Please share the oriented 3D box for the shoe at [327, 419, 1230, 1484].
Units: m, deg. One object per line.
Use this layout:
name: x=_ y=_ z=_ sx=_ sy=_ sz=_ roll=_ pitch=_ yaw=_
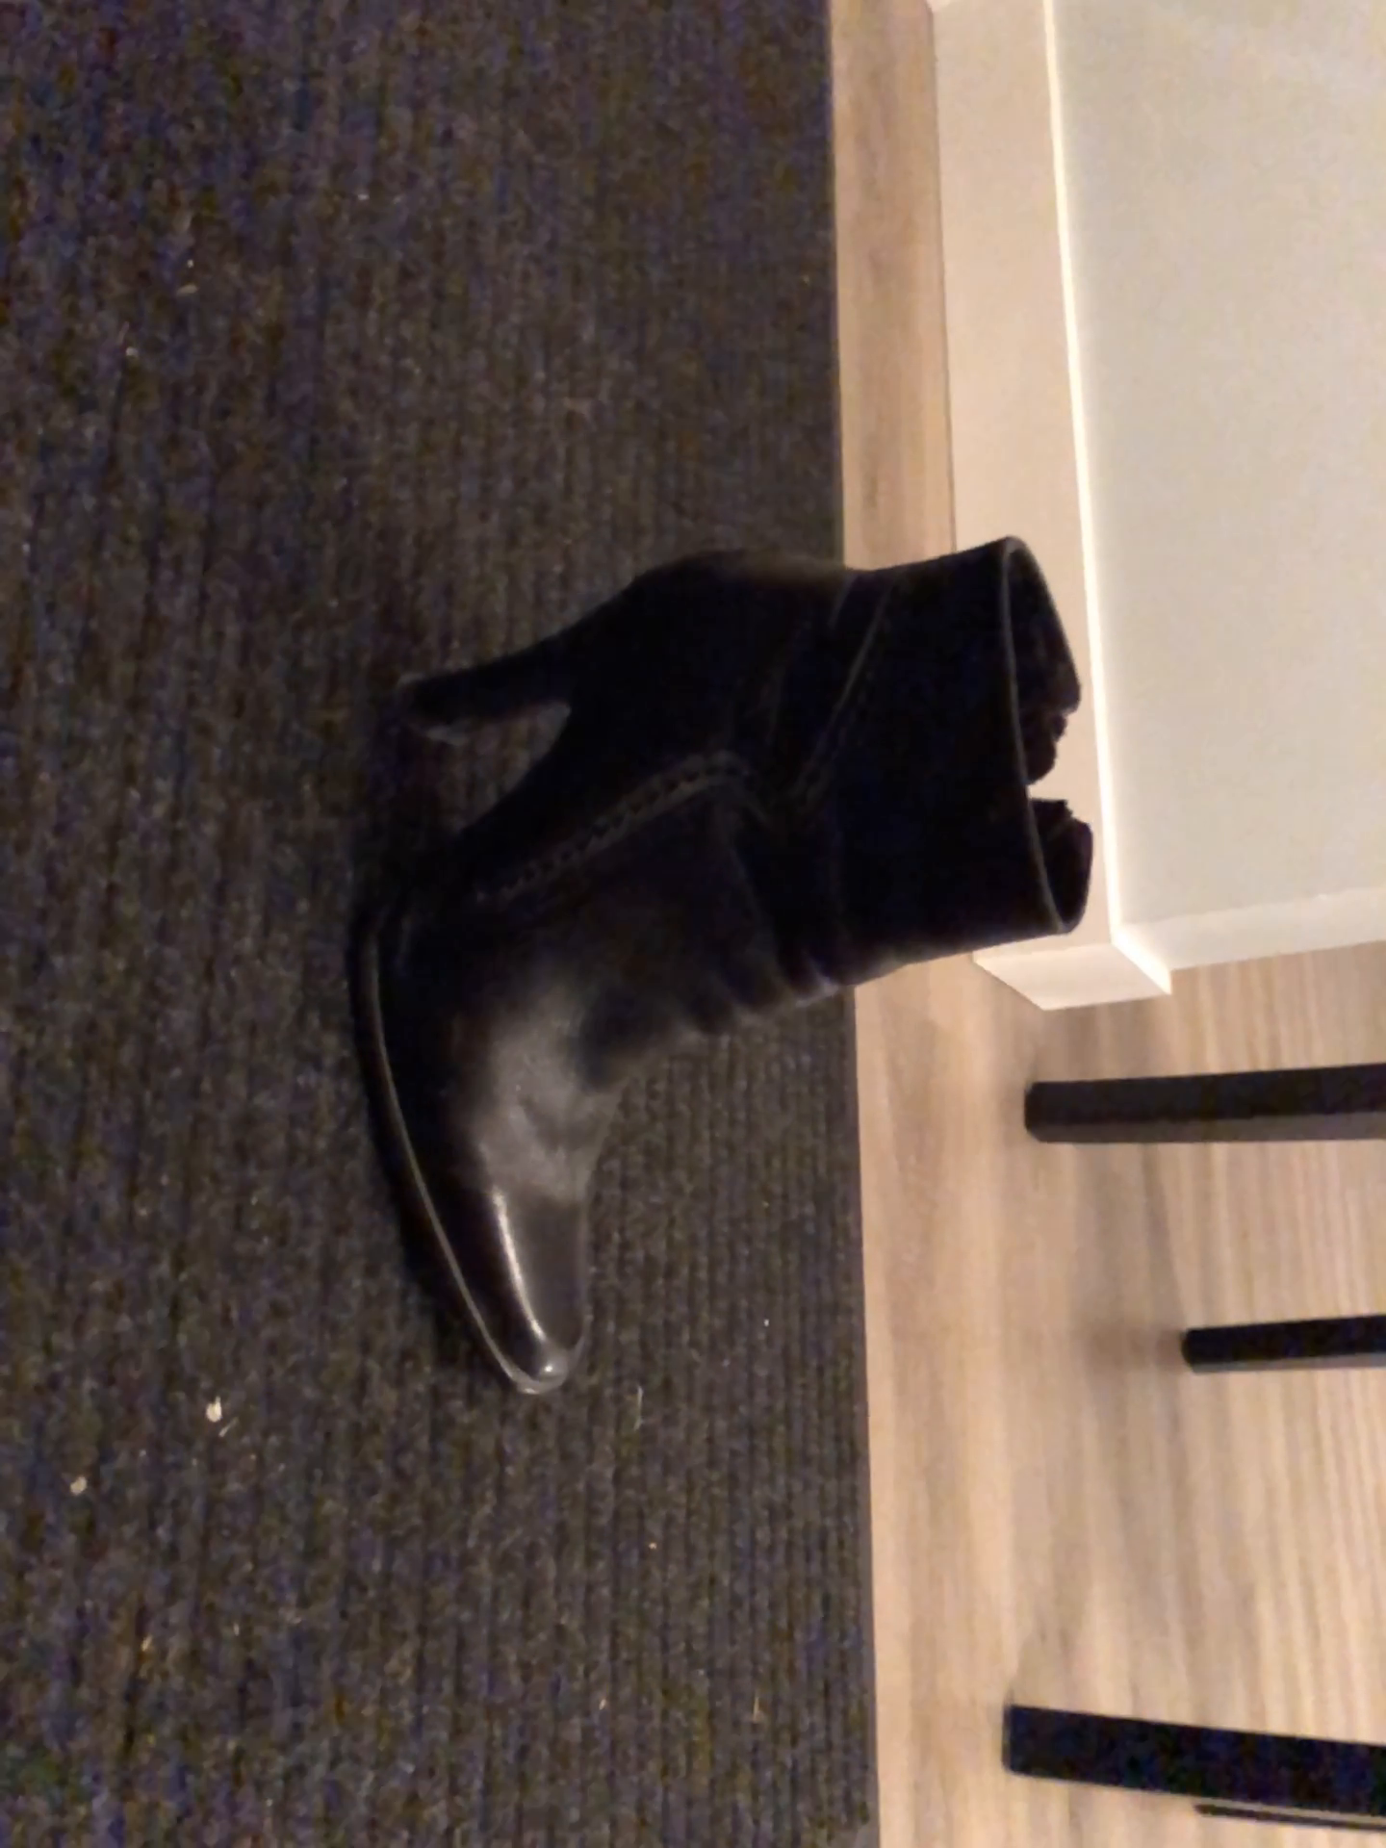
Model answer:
shoe: x=0.017 y=0.020 z=0.428 sx=0.091 sy=0.209 sz=0.240 roll=9 pitch=73 yaw=-62
